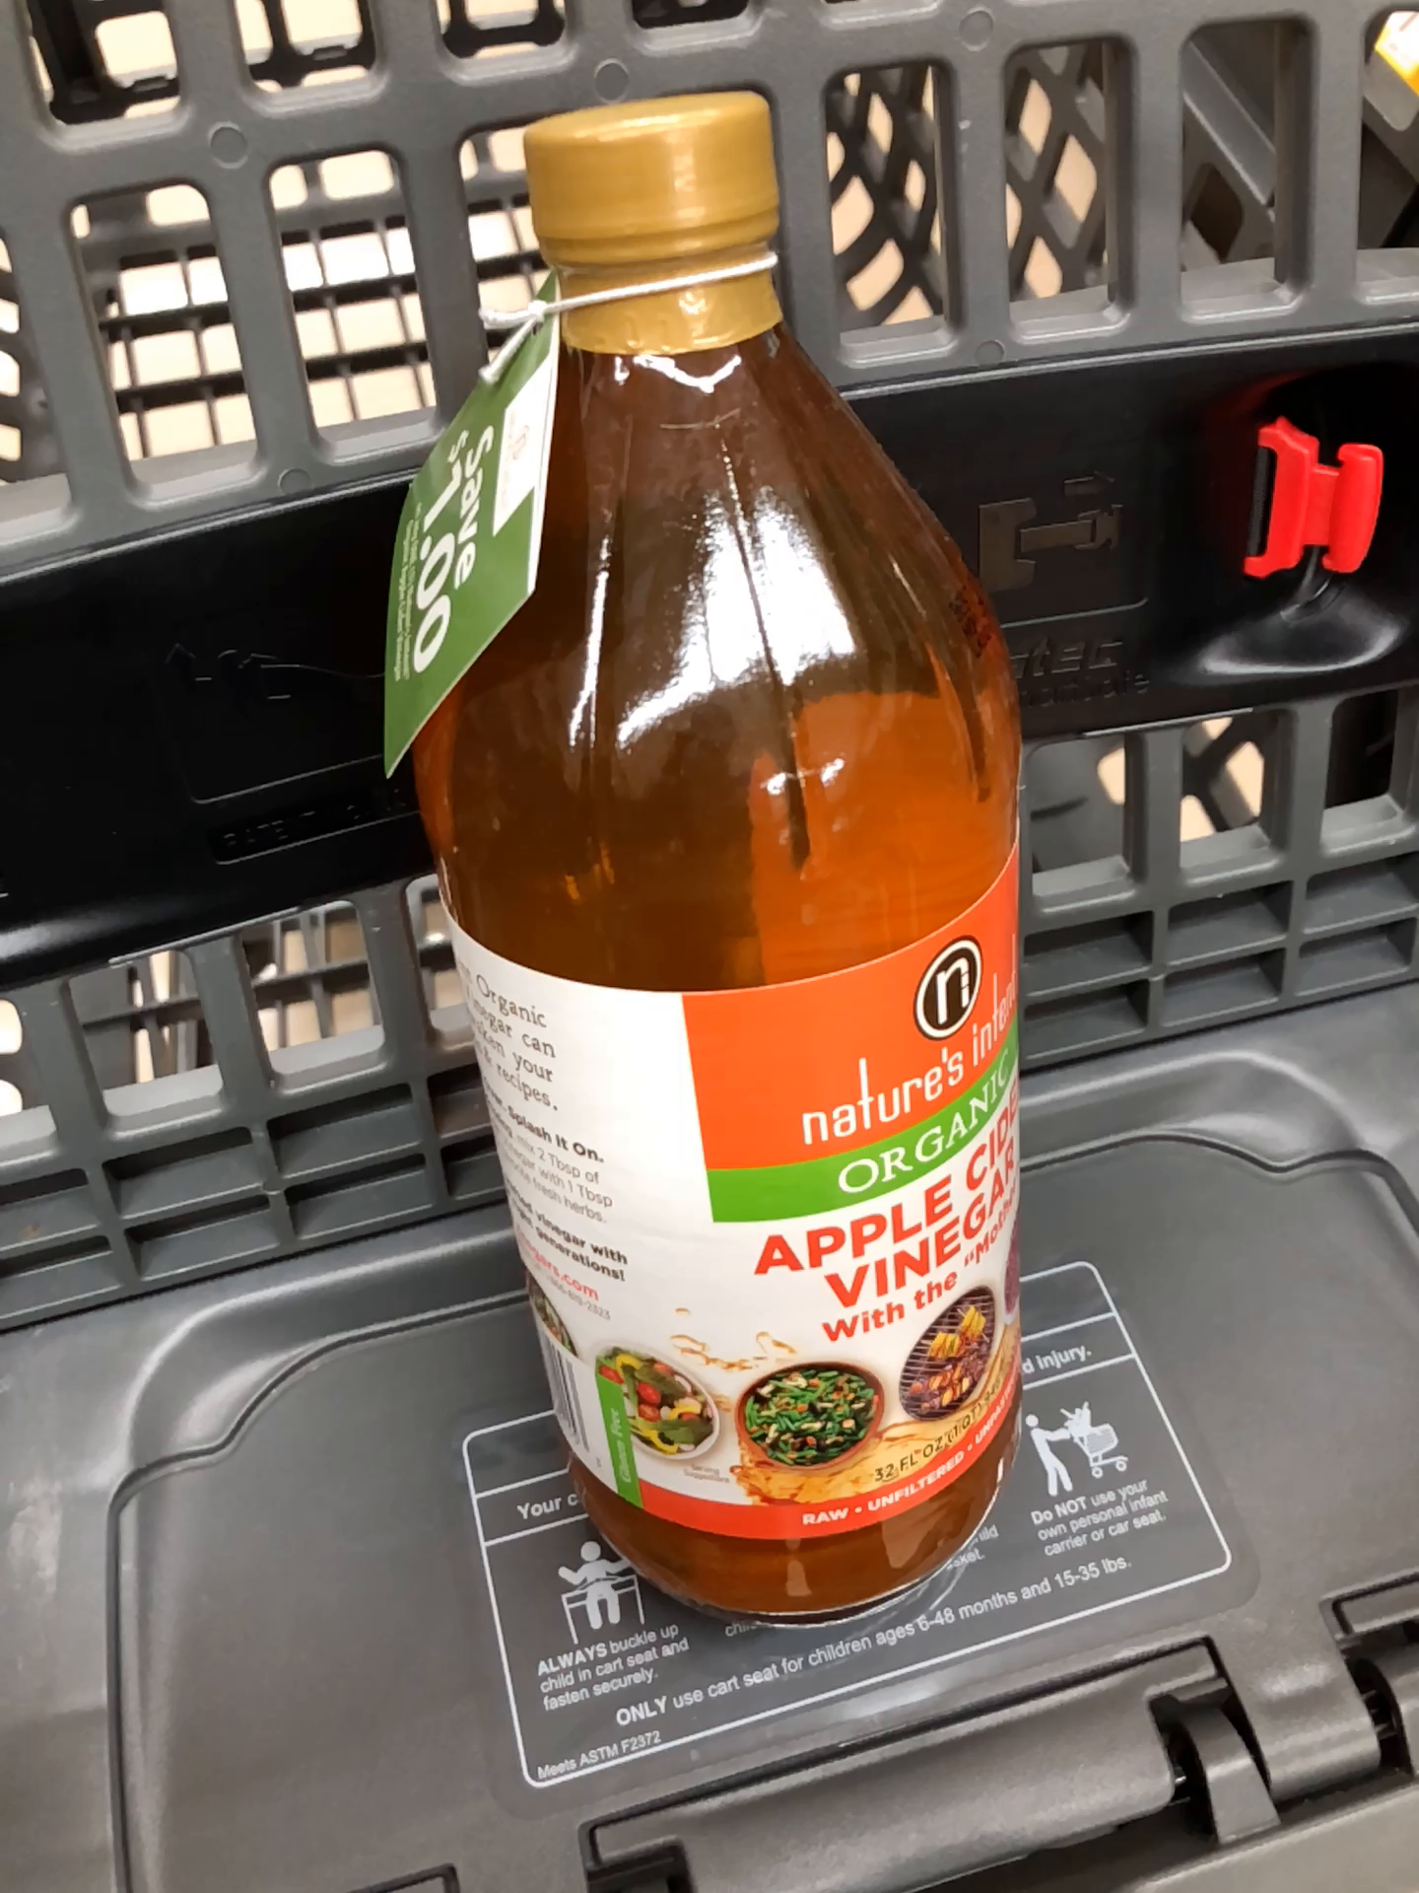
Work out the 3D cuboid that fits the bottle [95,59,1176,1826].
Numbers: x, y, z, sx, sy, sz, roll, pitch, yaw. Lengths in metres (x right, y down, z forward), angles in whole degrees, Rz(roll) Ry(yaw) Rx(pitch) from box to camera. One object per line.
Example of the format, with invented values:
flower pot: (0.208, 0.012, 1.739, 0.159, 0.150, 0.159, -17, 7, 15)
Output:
bottle: (0.004, 0.004, 0.253, 0.100, 0.240, 0.090, -29, 36, -34)
